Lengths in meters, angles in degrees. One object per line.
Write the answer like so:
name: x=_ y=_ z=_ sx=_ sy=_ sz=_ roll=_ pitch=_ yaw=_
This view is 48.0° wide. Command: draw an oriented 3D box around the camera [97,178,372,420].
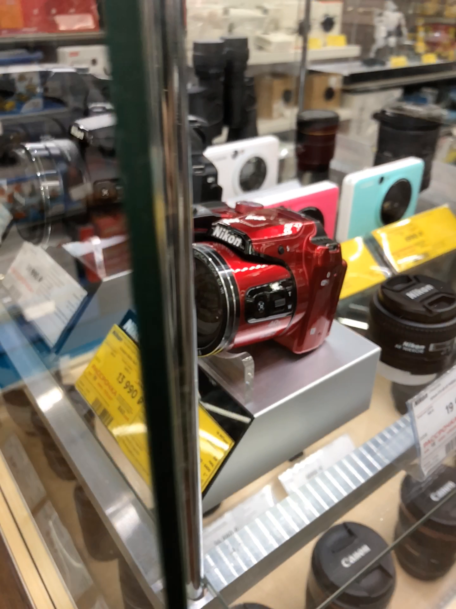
camera: x=0.000 y=-0.015 z=0.317 sx=0.110 sy=0.076 sz=0.120 roll=-21 pitch=38 yaw=-30
